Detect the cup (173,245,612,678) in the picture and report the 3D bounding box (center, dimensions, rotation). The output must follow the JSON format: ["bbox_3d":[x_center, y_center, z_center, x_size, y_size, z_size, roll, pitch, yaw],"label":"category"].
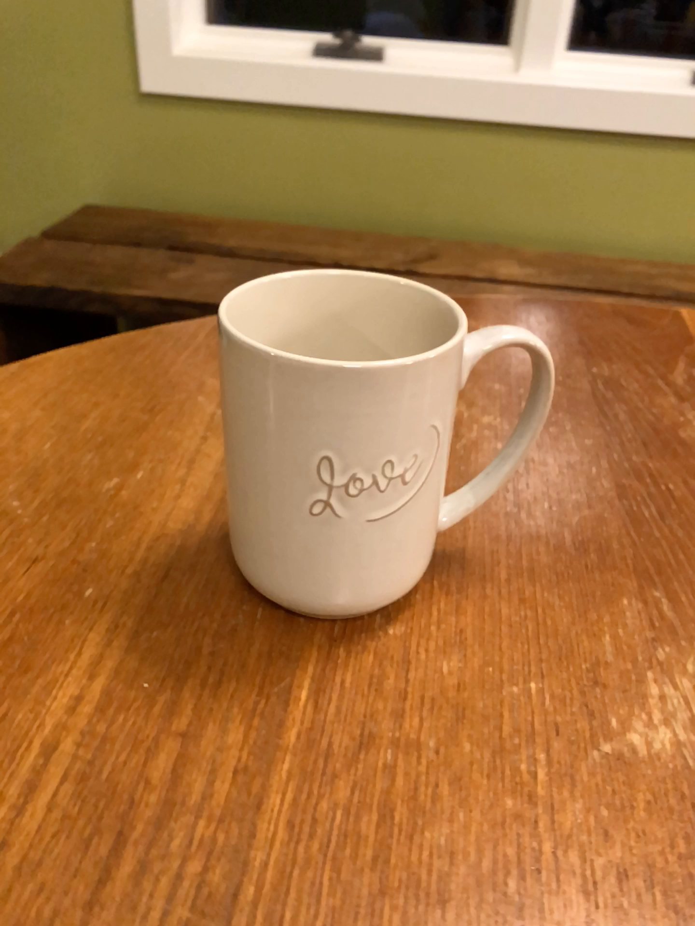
[{"bbox_3d":[0.012,-0.008,0.318,0.135,0.123,0.092,-13,36,-23],"label":"cup"}]
